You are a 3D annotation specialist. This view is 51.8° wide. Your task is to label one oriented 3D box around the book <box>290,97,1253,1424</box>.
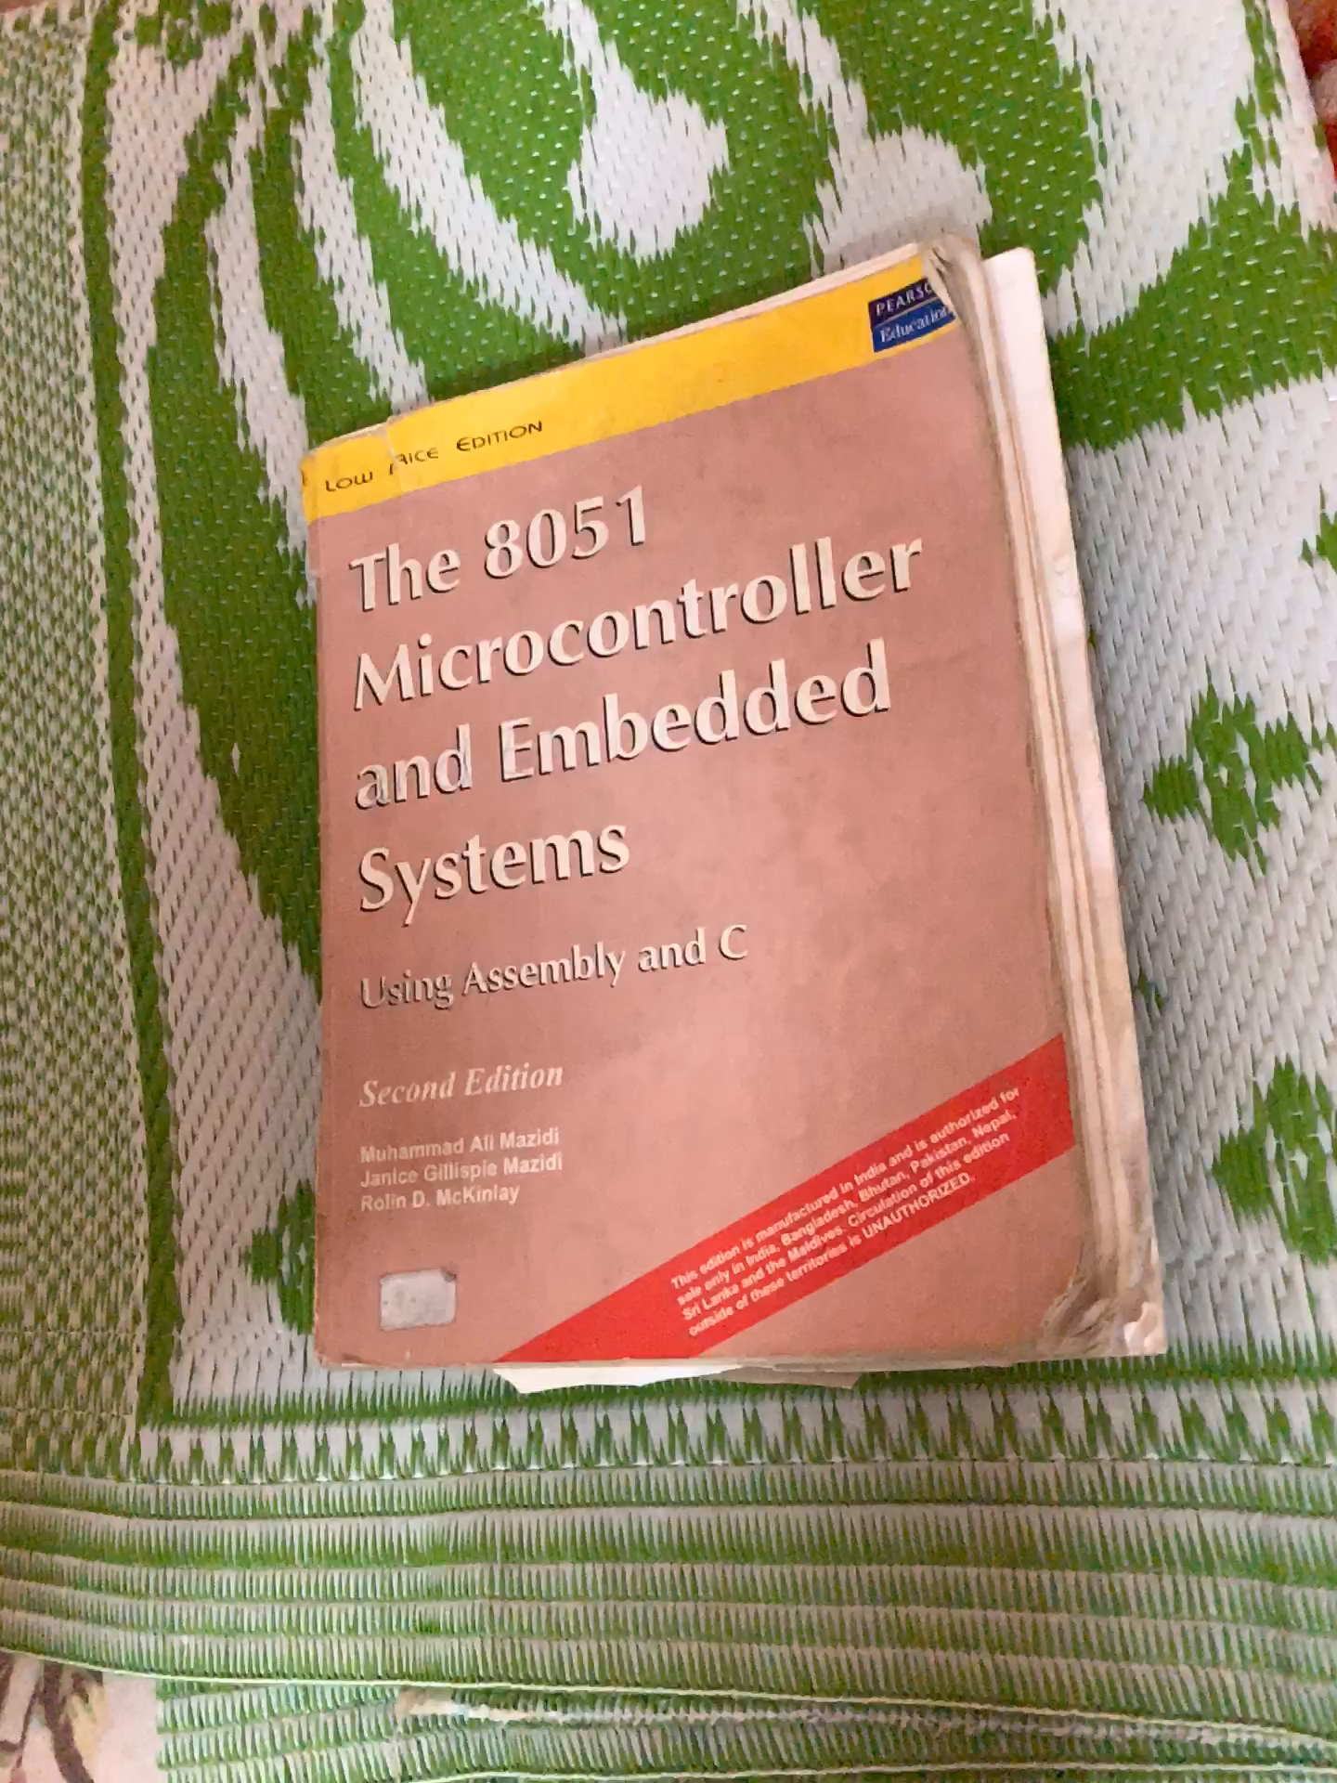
[{"bbox_3d":[0.006,-0.022,0.369,0.231,0.050,0.300,-10,76,26],"label":"book"}]
